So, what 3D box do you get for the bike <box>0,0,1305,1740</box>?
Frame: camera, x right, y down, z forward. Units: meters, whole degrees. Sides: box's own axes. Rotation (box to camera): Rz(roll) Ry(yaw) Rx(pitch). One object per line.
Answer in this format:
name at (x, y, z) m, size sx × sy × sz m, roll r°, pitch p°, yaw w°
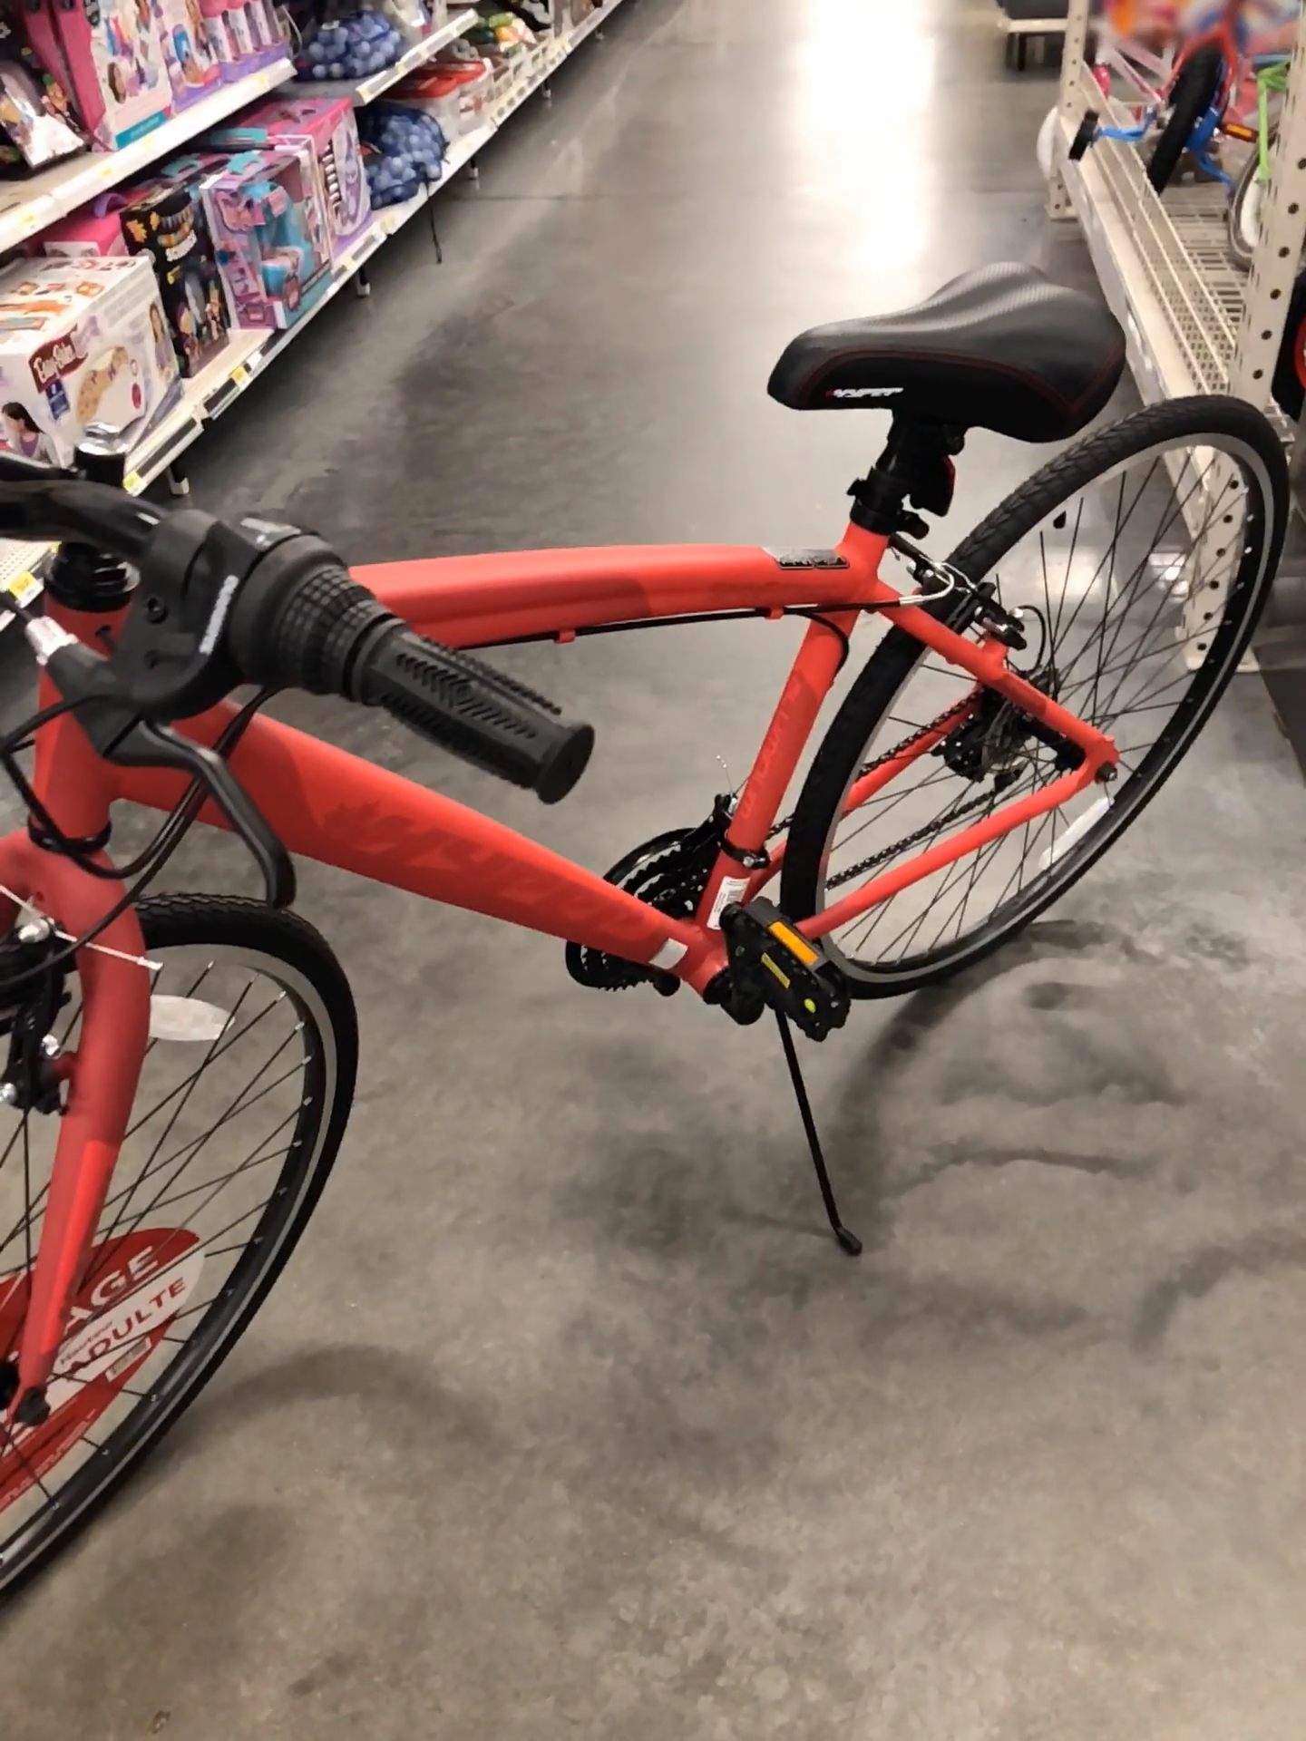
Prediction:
bike at (0.003, -0.007, 1.029) m, size 1.690 × 1.000 × 0.615 m, roll -32°, pitch 47°, yaw -29°
